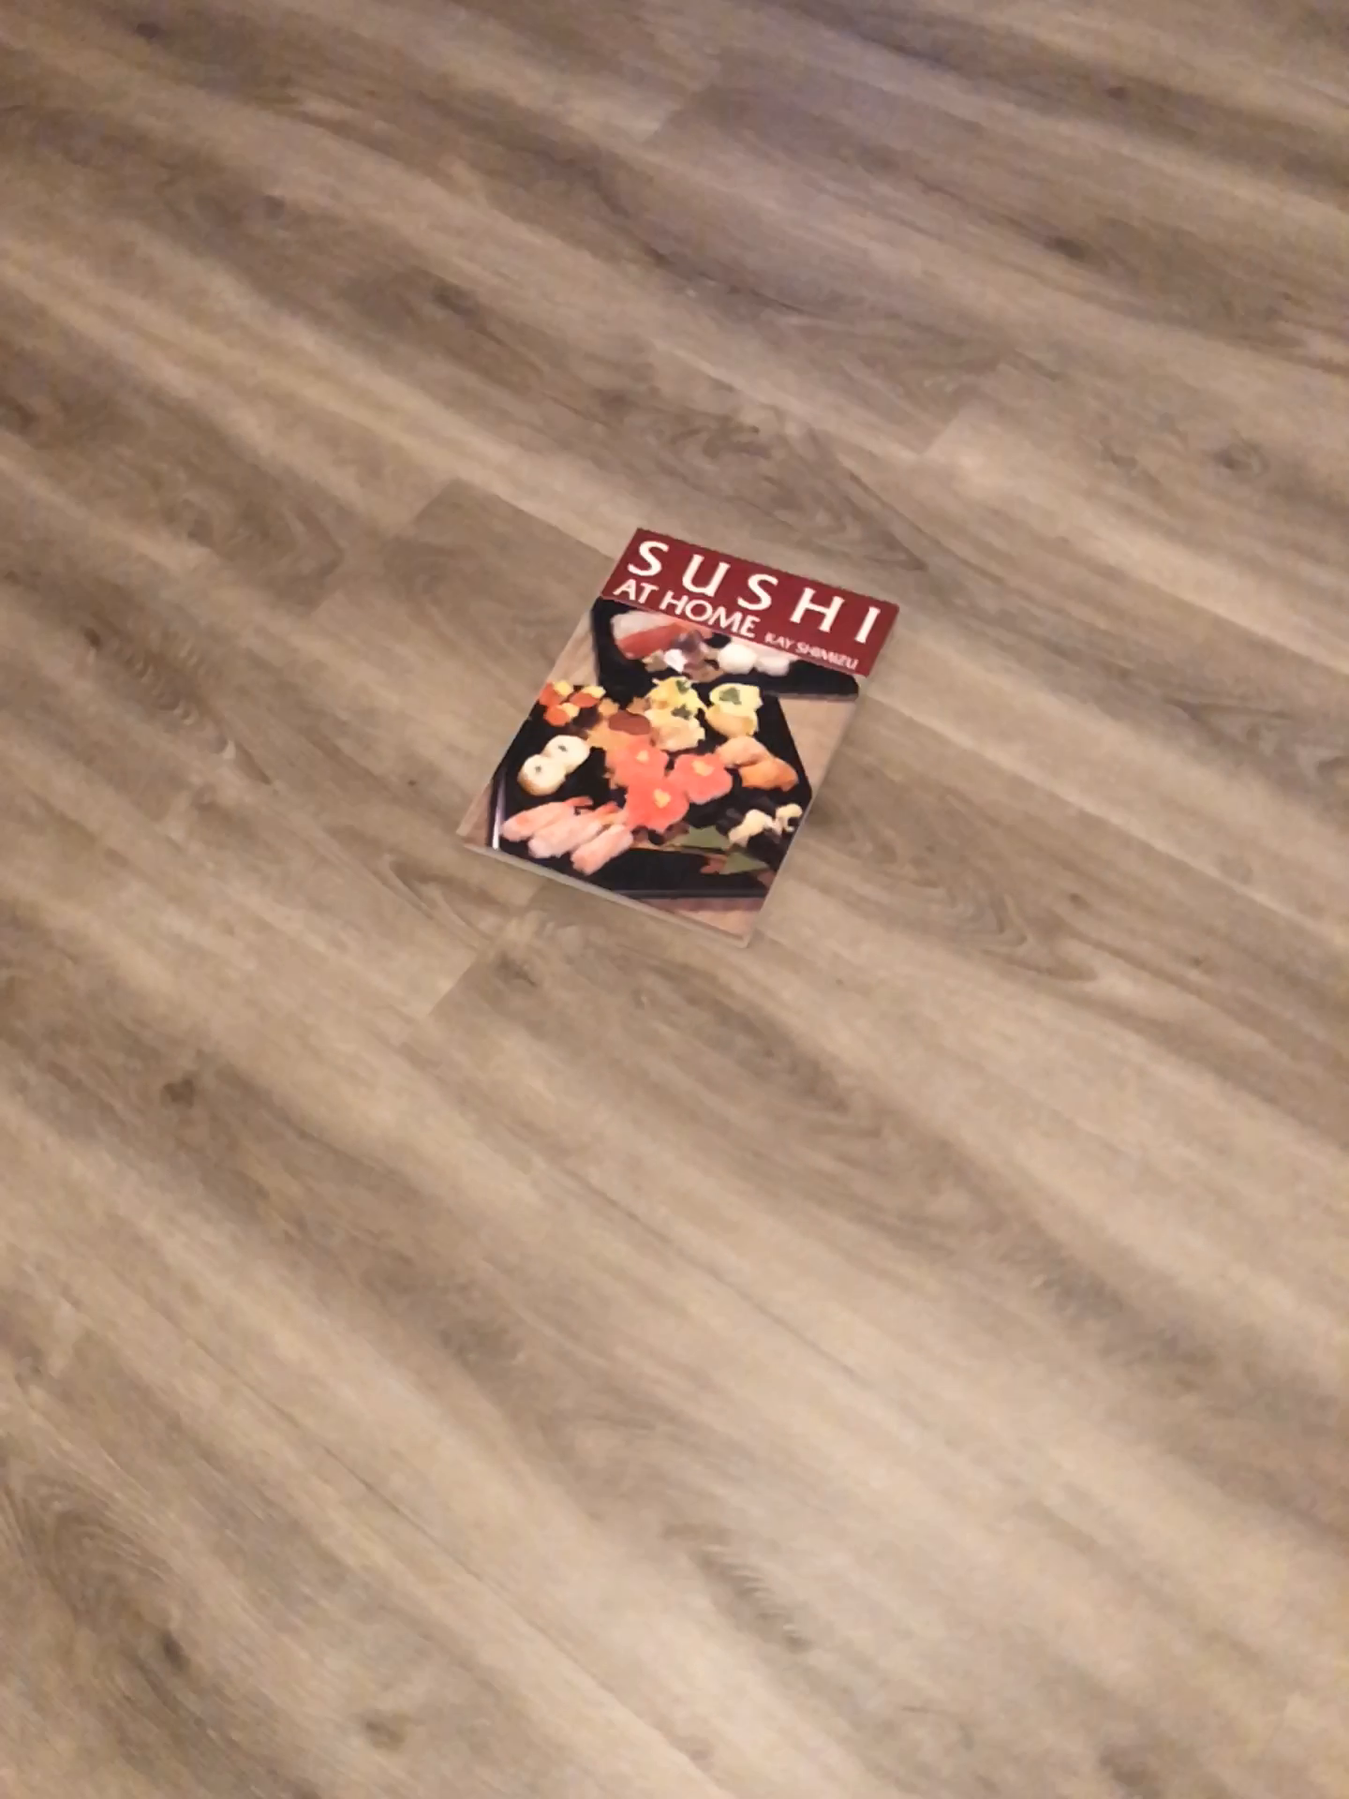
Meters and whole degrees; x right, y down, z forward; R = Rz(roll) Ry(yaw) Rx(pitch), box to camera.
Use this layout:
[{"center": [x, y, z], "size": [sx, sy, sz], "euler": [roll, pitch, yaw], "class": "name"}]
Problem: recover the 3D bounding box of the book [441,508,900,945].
[{"center": [0.004, -0.116, 0.913], "size": [0.190, 0.030, 0.258], "euler": [19, 62, 14], "class": "book"}]
